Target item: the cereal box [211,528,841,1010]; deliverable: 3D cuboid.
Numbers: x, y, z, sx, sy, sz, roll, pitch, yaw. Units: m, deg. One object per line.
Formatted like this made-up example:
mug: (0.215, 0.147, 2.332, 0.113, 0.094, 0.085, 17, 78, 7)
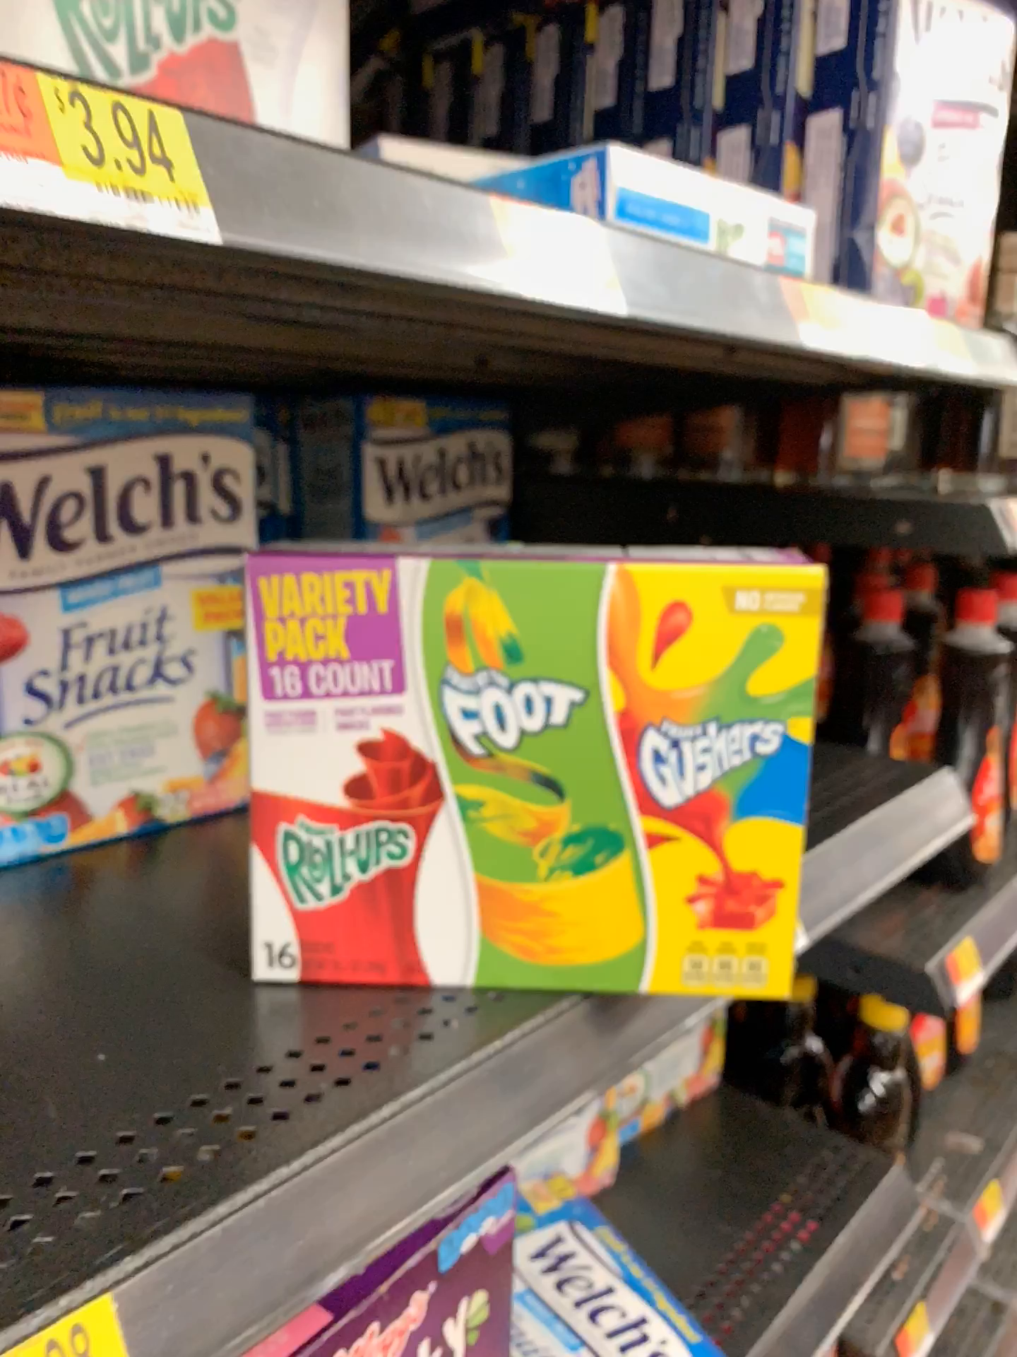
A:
cereal box: (0.004, 0.033, 0.421, 0.220, 0.170, 0.060, 2, 12, 1)
